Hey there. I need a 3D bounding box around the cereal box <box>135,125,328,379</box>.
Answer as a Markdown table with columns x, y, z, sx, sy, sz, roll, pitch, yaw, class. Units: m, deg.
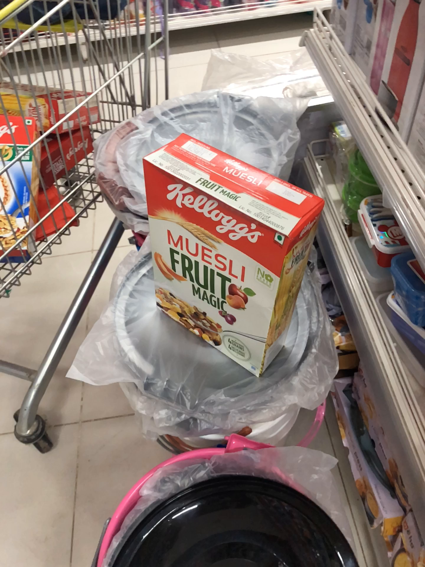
| x | y | z | sx | sy | sz | roll | pitch | yaw | class |
| --- | --- | --- | --- | --- | --- | --- | --- | --- | --- |
| 0.011 | -0.028 | 0.564 | 0.190 | 0.249 | 0.070 | 32 | 55 | 24 | cereal box |
